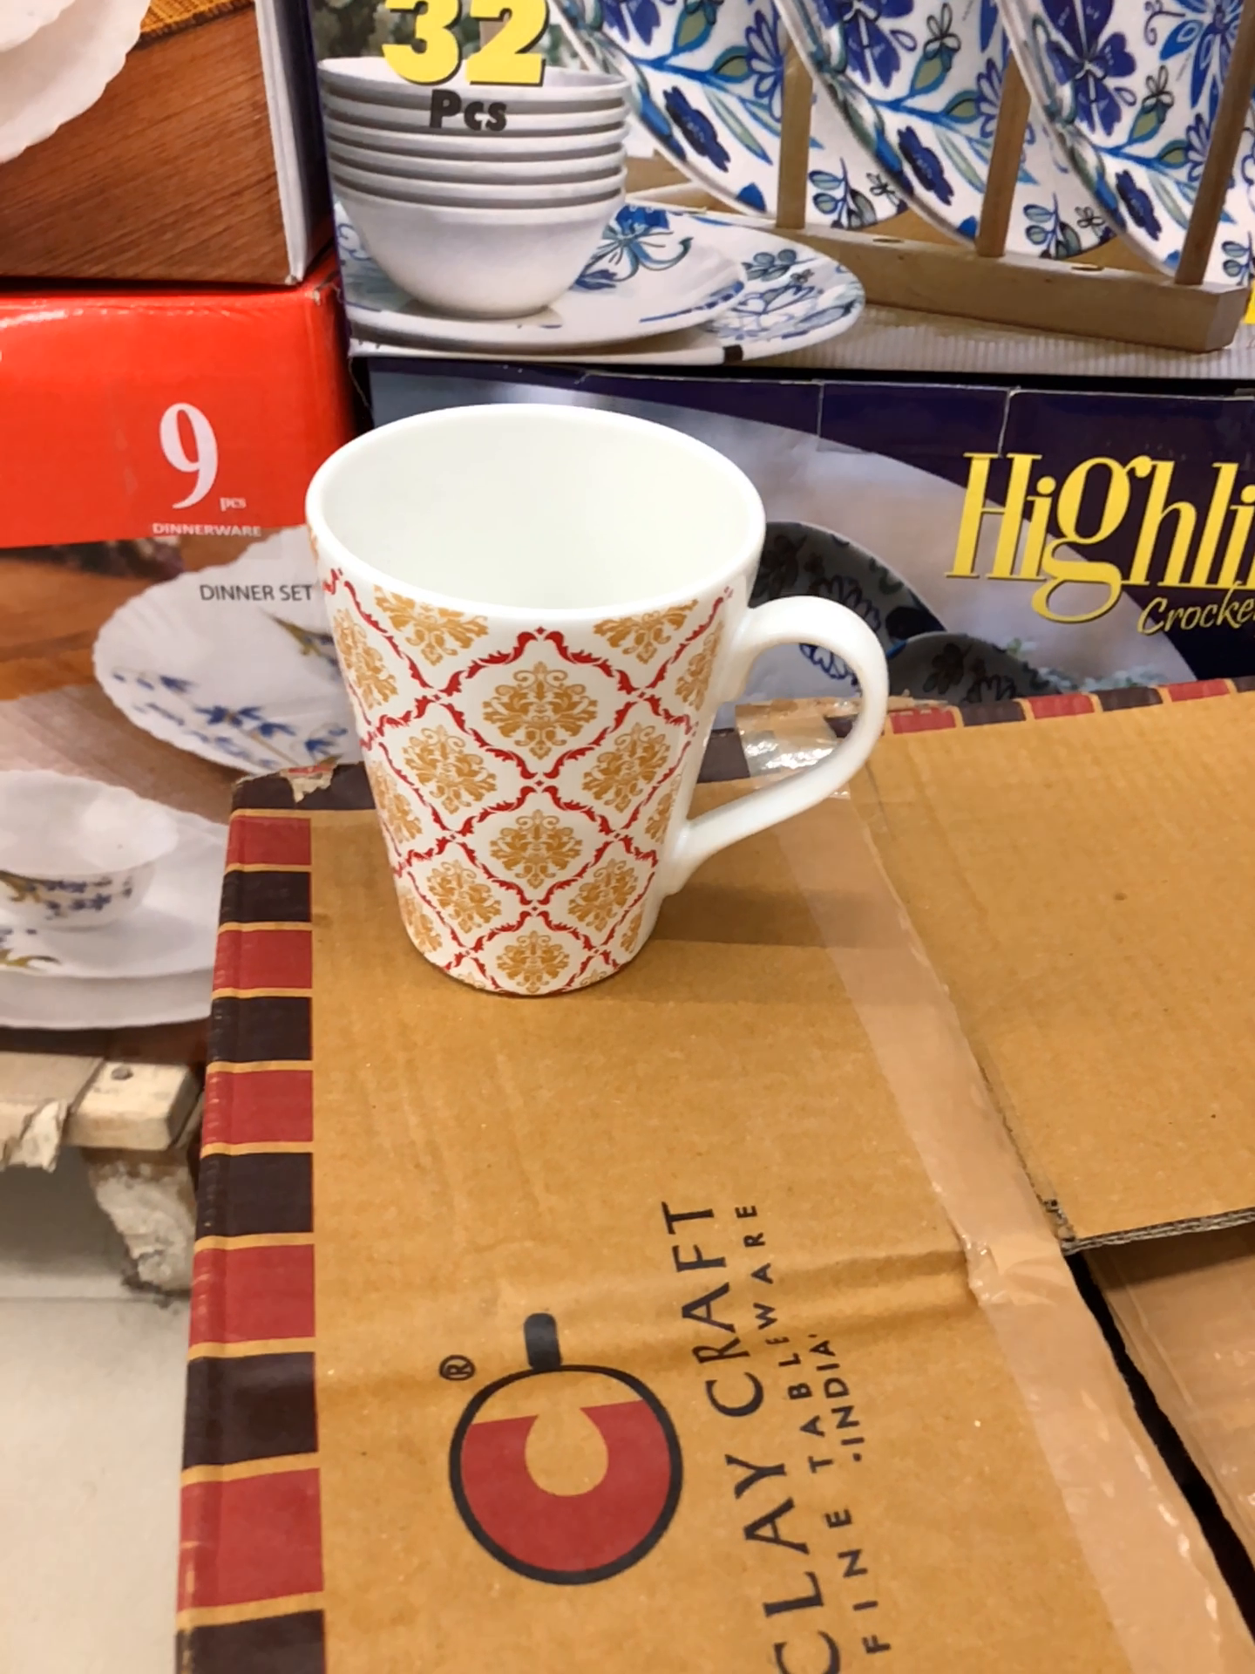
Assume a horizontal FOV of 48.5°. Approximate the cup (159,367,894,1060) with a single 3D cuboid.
[{"bbox_3d":[-0.011,-0.029,0.274,0.110,0.089,0.091,7,38,10],"label":"cup"}]
